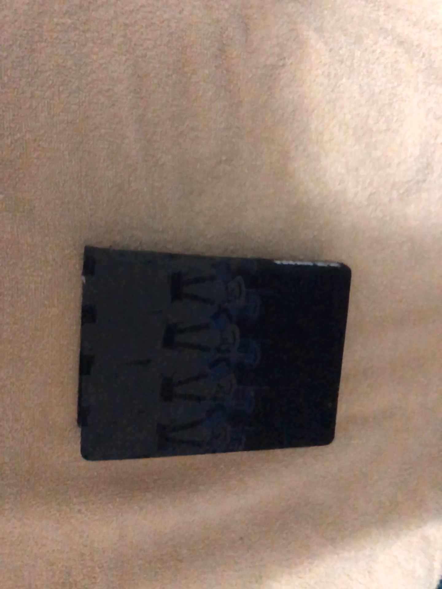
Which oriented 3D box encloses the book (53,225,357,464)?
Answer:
[{"bbox_3d":[-0.011,0.030,0.334,0.190,0.050,0.140,2,98,-17],"label":"book"}]
